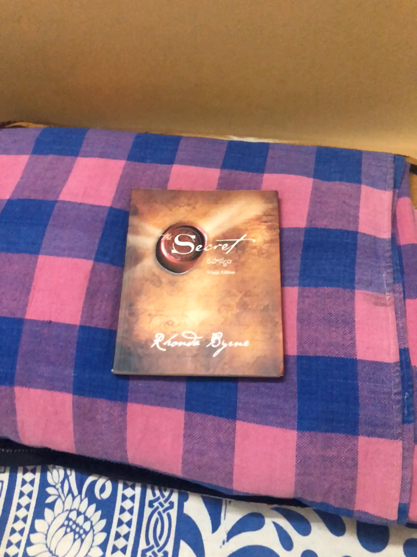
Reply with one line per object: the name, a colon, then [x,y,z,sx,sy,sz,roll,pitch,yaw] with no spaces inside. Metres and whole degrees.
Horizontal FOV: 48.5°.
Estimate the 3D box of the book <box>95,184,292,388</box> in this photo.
book: [-0.009,-0.002,0.407,0.150,0.020,0.190,0,60,4]
